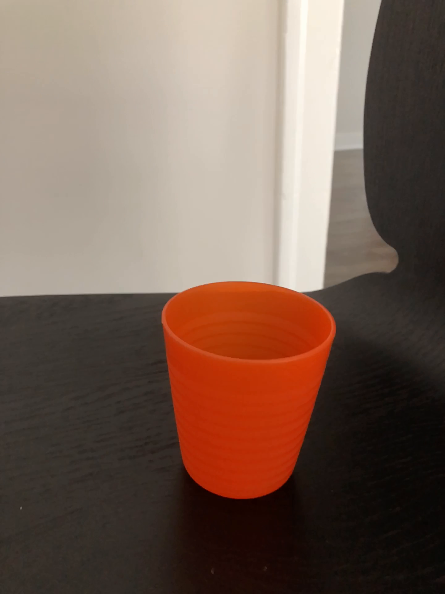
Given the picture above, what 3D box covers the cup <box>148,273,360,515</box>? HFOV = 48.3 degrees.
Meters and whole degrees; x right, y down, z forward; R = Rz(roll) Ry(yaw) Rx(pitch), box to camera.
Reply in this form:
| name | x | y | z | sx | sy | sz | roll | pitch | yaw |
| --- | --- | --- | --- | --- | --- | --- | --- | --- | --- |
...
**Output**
| name | x | y | z | sx | sy | sz | roll | pitch | yaw |
| --- | --- | --- | --- | --- | --- | --- | --- | --- | --- |
| cup | 0.012 | 0.042 | 0.240 | 0.080 | 0.080 | 0.080 | -1 | 27 | 1 |
